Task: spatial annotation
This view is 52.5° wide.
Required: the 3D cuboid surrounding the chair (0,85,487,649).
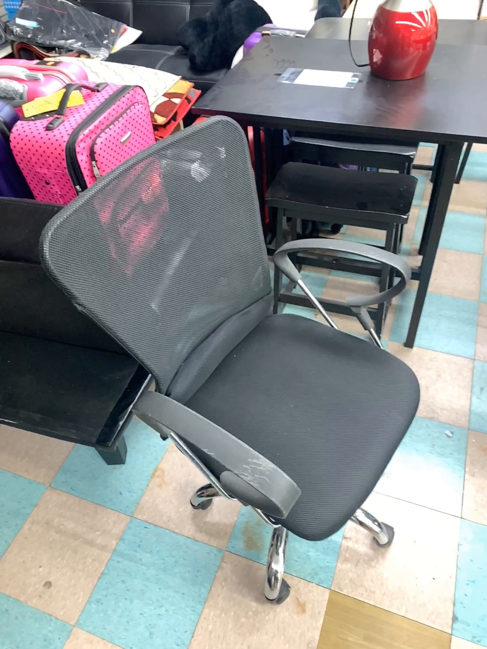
[{"bbox_3d":[0.116,0.163,1.092,0.601,1.020,0.622,25,54,26],"label":"chair"}]
